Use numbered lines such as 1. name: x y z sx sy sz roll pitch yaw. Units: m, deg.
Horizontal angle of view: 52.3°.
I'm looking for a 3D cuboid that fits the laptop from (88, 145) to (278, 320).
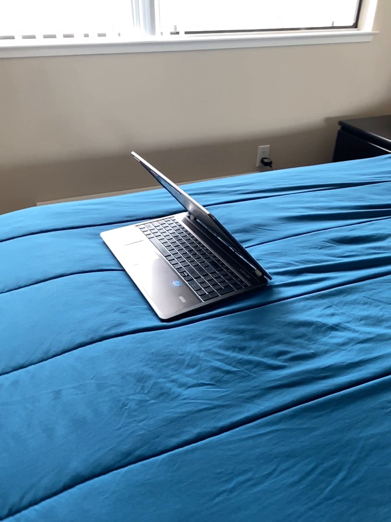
1. laptop: -0.045 -0.094 0.873 0.255 0.192 0.371 -15 36 -25
